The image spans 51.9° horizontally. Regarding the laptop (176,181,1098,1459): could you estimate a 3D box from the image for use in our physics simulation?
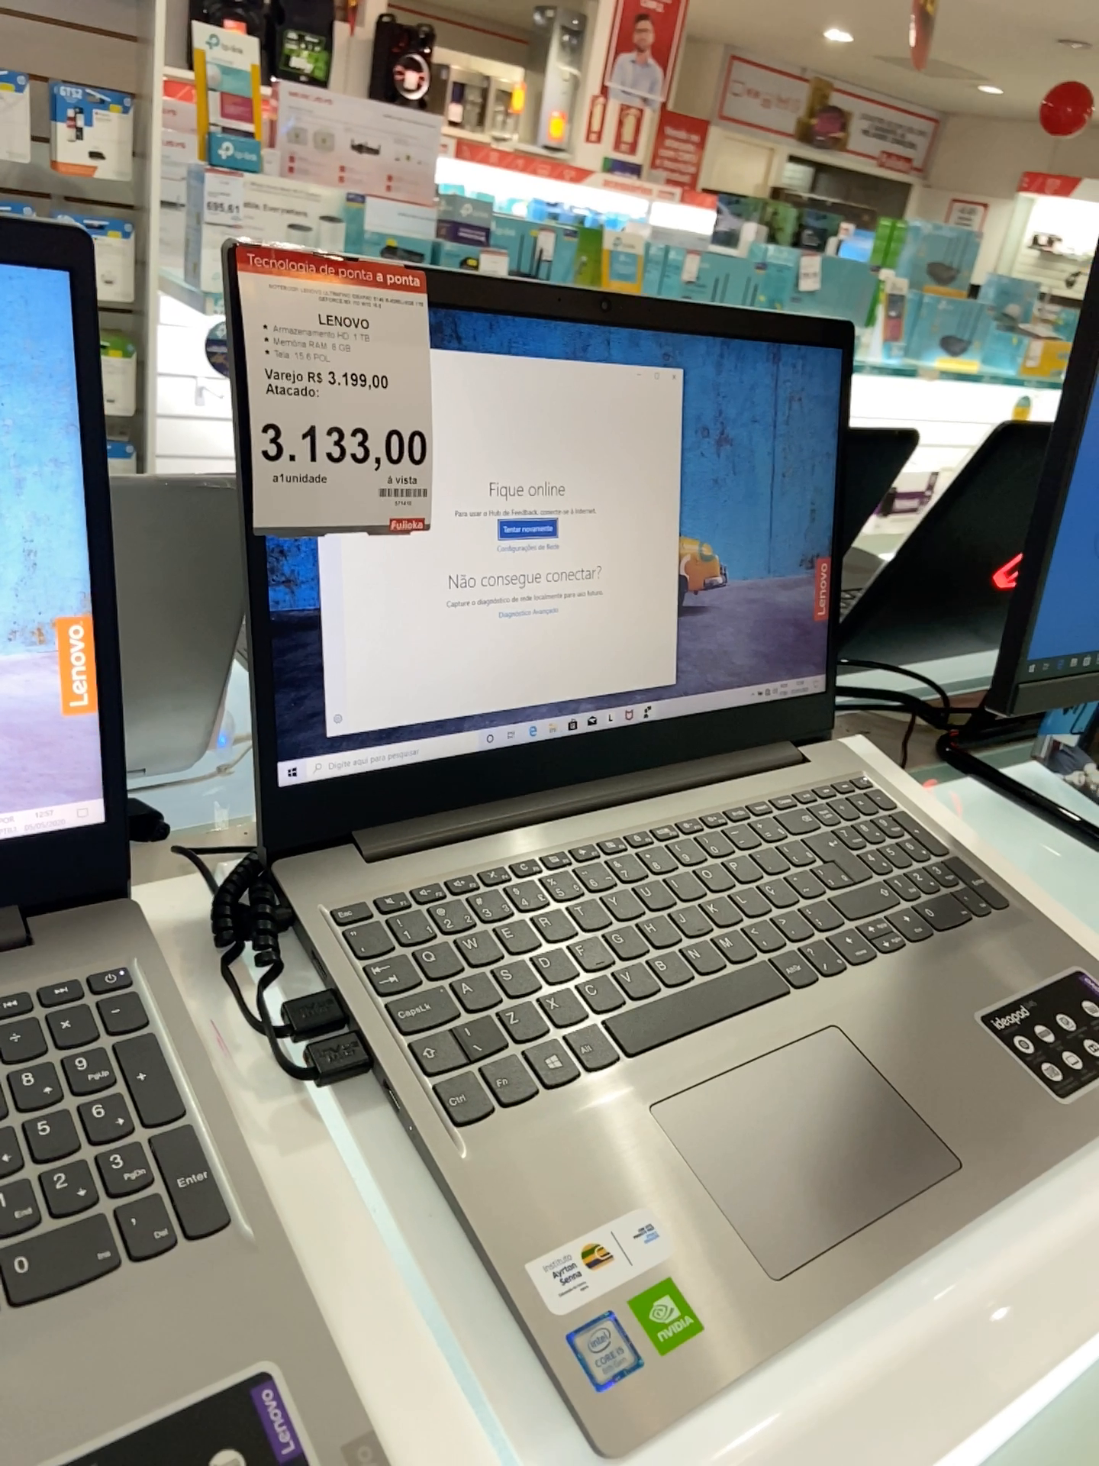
[{"bbox_3d":[0.083,-0.032,0.480,0.364,0.224,0.360,-9,38,-36],"label":"laptop"}]
